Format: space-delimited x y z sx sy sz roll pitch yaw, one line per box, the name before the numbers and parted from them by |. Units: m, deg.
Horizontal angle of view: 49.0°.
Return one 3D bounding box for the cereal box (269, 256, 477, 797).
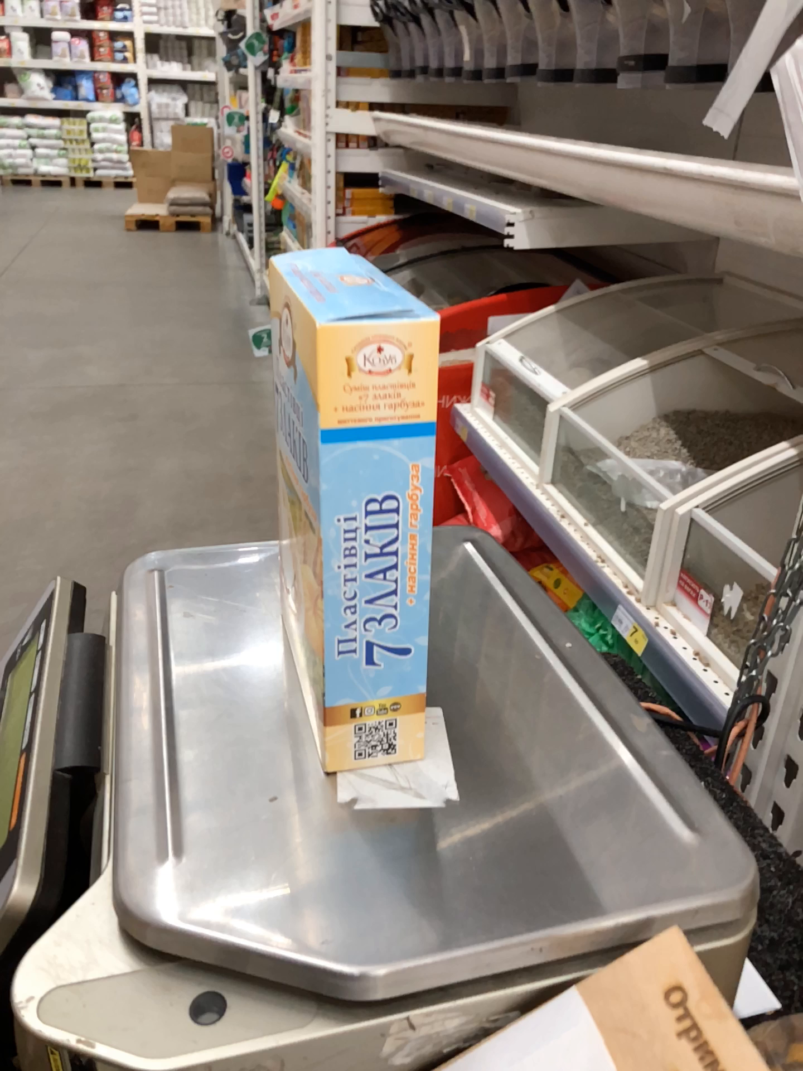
cereal box | -0.023 -0.013 0.459 0.060 0.228 0.161 -6 27 -14
